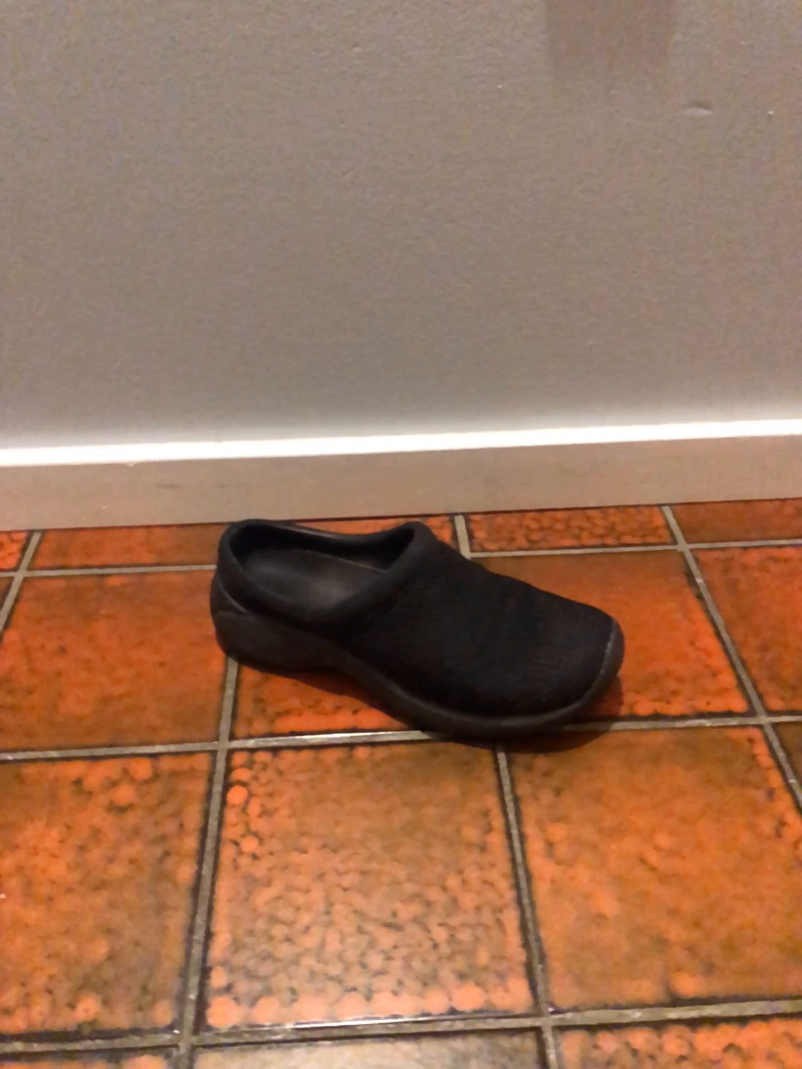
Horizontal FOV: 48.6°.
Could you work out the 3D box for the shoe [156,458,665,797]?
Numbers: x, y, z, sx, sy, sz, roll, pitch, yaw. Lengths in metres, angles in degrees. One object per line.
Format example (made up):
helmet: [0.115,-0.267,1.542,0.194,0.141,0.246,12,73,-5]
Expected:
shoe: [0.005,0.043,0.495,0.250,0.080,0.100,14,41,17]
